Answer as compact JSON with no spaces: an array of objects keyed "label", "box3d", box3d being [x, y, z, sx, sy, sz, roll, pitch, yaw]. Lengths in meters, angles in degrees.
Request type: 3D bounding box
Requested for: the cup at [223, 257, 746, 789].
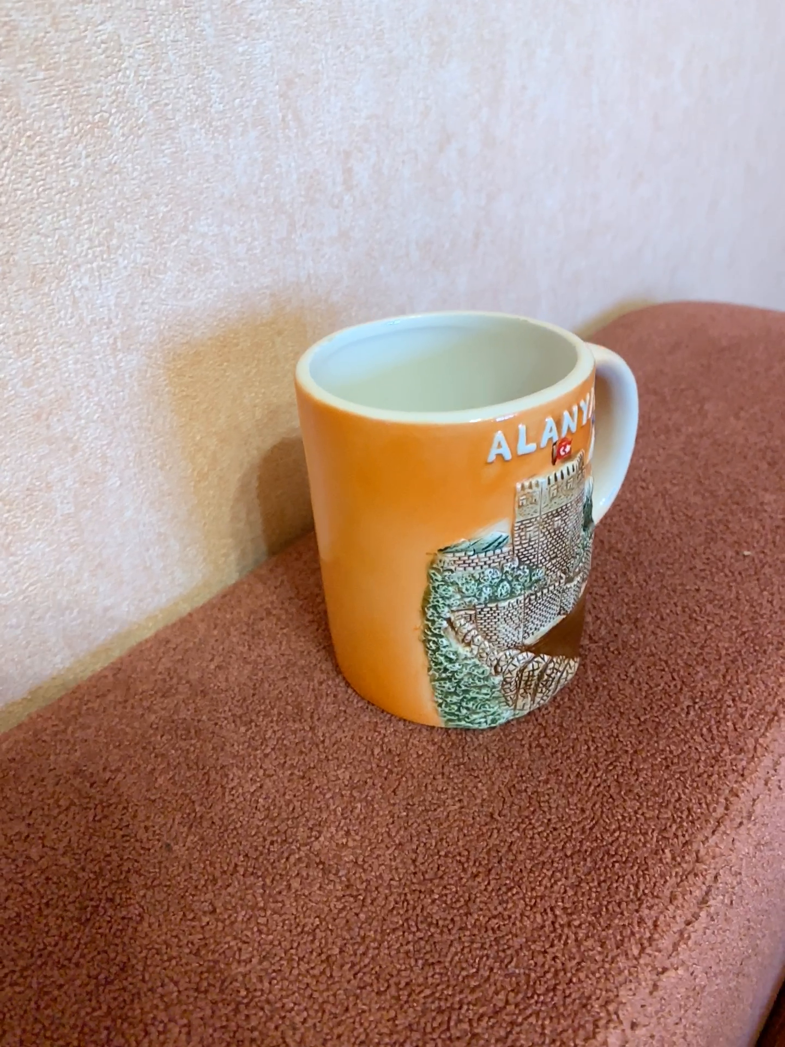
[{"label":"cup","box3d":[0.030,-0.011,0.254,0.120,0.098,0.088,-31,43,-34]}]
